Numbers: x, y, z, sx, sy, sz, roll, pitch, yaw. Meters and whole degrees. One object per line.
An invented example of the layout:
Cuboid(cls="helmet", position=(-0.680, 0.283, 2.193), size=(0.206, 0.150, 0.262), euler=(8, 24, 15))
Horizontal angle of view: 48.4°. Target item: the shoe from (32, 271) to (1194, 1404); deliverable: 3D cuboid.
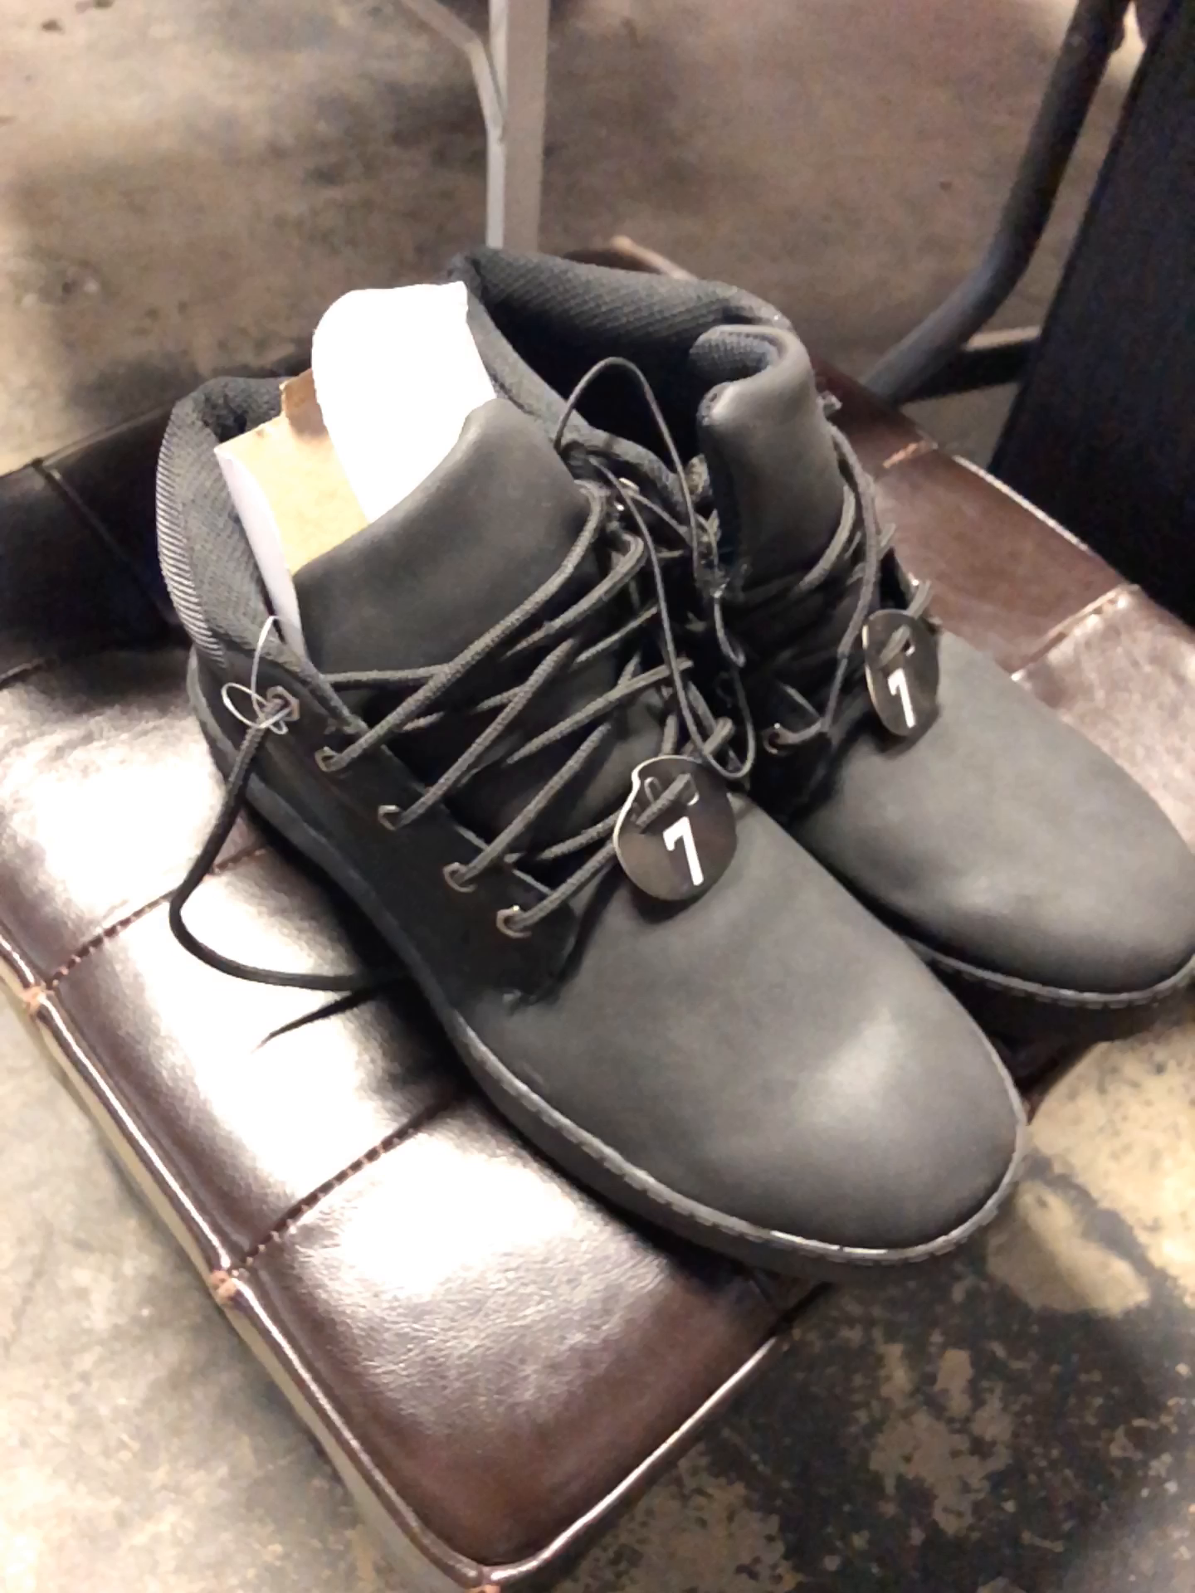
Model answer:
Cuboid(cls="shoe", position=(-0.002, 0.006, 0.337), size=(0.261, 0.139, 0.100), euler=(36, 58, 18))

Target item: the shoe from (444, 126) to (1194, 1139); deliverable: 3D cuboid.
Cuboid(cls="shoe", position=(0.076, -0.044, 0.345), size=(0.220, 0.139, 0.100), euler=(36, 58, 18))
